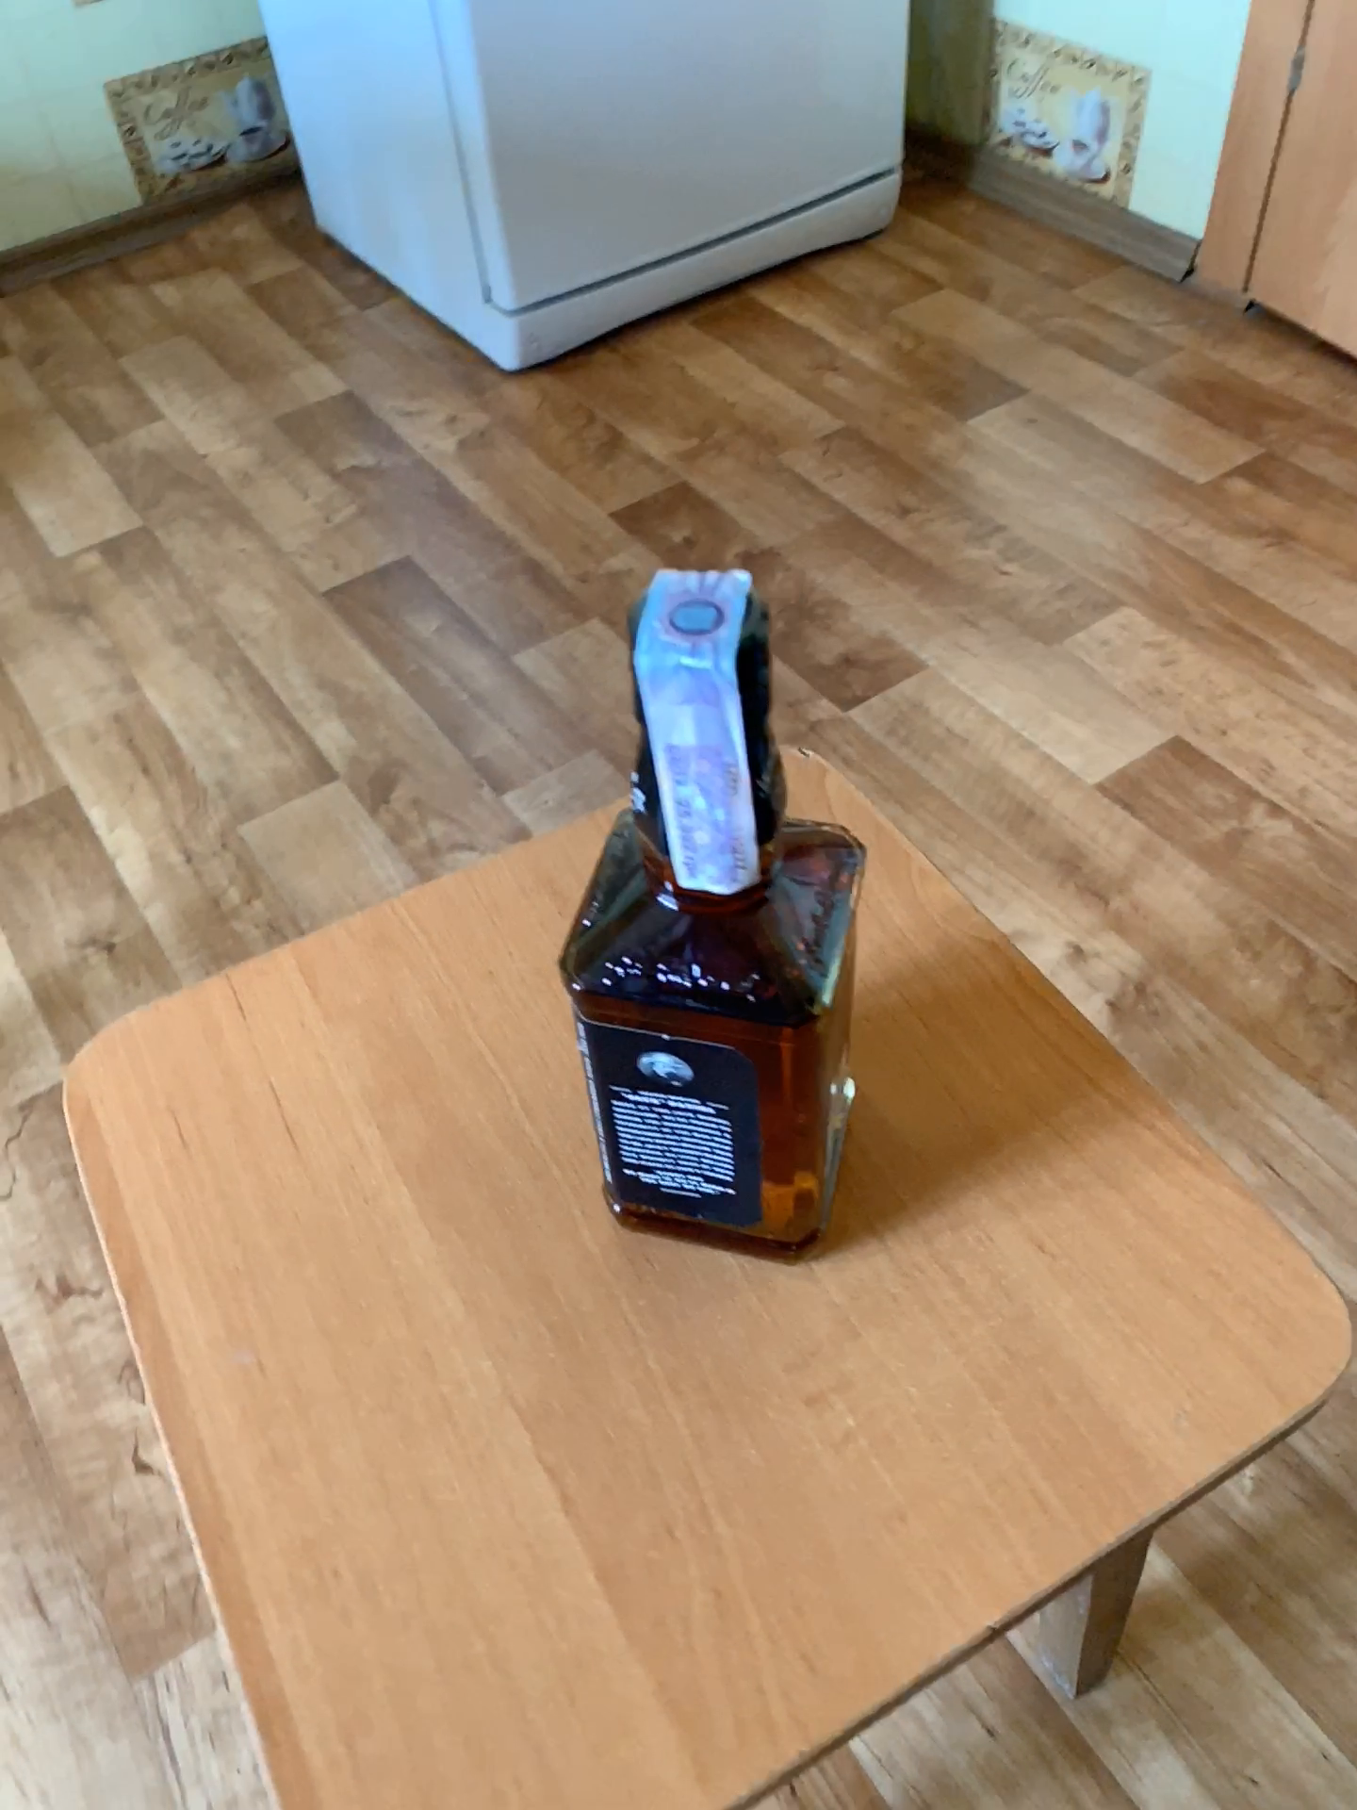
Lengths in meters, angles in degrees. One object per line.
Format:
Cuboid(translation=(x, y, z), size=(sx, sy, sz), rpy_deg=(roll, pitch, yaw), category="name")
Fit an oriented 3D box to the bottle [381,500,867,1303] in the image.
Cuboid(translation=(-0.001, 0.012, 0.360), size=(0.080, 0.209, 0.080), rpy_deg=(-3, 49, 3), category="bottle")
